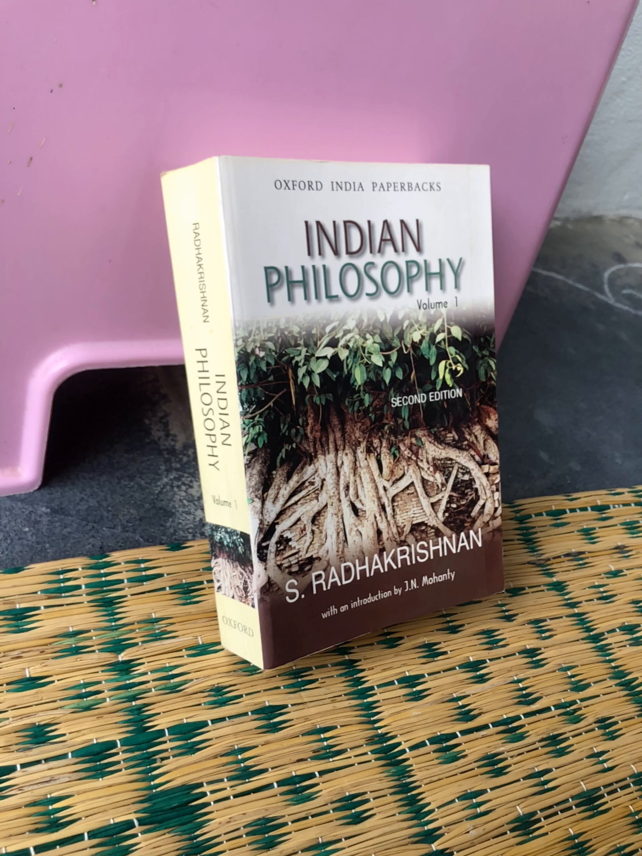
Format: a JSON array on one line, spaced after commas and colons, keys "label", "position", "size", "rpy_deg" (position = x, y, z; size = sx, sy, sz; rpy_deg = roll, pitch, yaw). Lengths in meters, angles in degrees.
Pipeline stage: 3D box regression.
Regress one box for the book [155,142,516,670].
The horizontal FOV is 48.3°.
[{"label": "book", "position": [0.011, -0.016, 0.349], "size": [0.141, 0.210, 0.070], "rpy_deg": [-9, 5, -31]}]
